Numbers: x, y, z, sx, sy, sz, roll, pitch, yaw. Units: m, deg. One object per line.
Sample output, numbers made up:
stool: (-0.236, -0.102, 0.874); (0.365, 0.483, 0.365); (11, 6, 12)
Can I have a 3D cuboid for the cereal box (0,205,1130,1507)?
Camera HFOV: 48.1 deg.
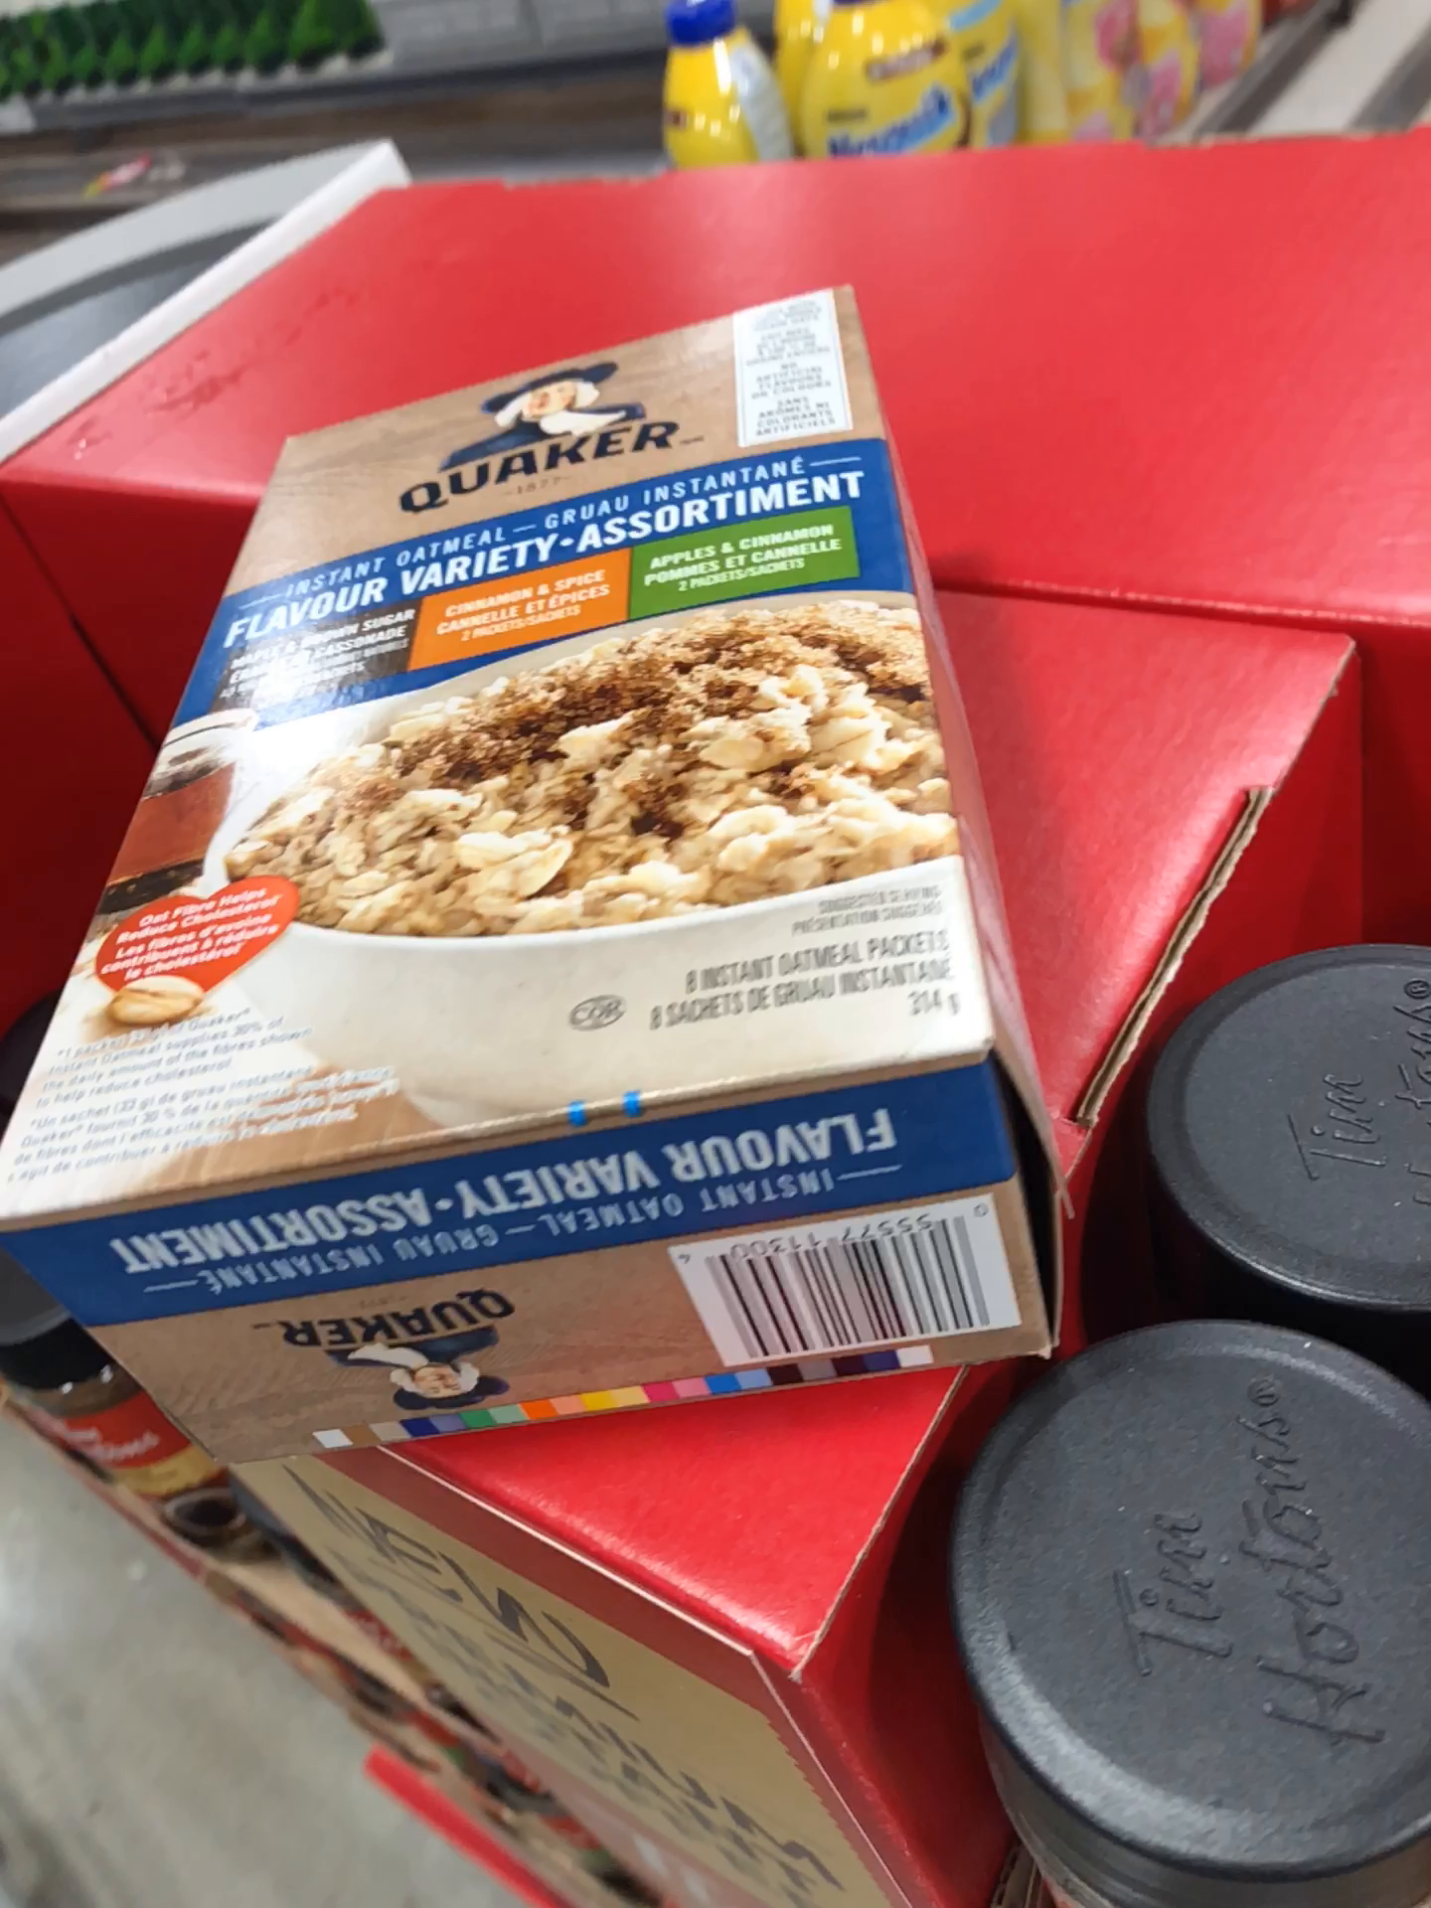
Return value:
cereal box: (-0.024, -0.031, 0.270); (0.140, 0.070, 0.211); (-11, 45, 10)
